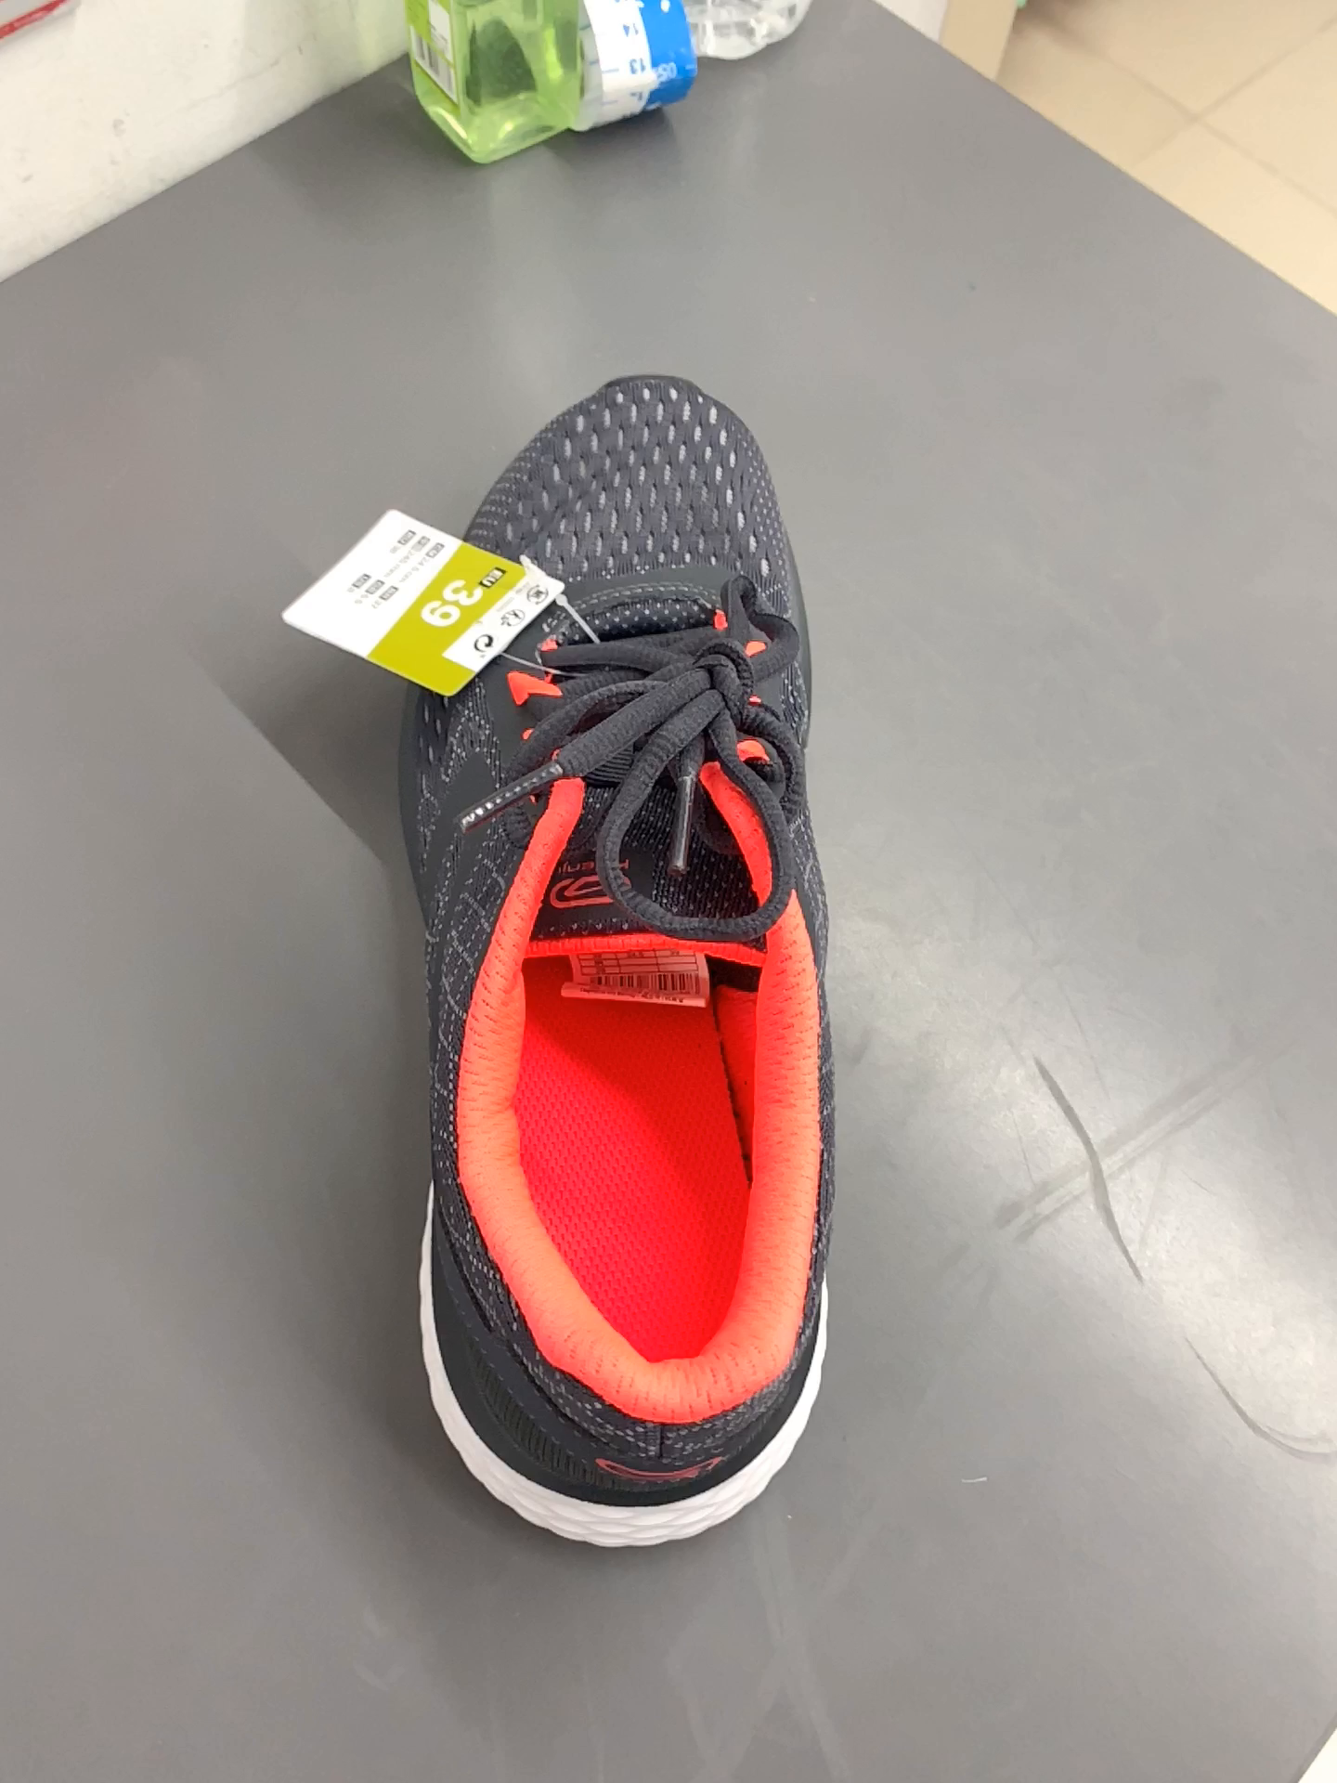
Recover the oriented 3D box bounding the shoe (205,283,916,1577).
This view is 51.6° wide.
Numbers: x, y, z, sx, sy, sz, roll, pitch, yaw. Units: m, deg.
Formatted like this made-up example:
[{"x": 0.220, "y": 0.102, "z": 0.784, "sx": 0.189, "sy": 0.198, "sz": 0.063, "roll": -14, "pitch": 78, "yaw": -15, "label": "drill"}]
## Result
[{"x": -0.018, "y": 0.005, "z": 0.320, "sx": 0.110, "sy": 0.110, "sz": 0.270, "roll": 1, "pitch": 66, "yaw": -2, "label": "shoe"}]
